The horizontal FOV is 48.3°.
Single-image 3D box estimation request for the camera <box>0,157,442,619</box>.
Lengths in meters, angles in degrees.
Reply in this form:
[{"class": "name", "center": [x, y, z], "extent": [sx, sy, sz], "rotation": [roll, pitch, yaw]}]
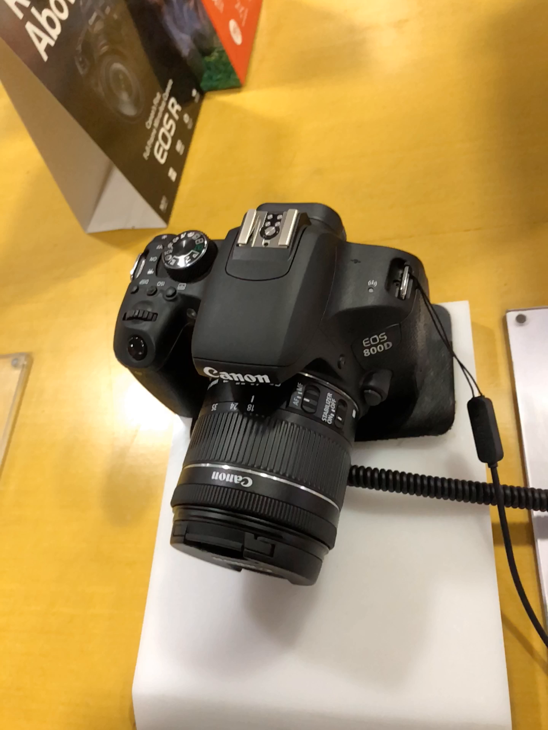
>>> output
[{"class": "camera", "center": [-0.009, 0.007, 0.226], "extent": [0.120, 0.090, 0.130], "rotation": [5, 64, 20]}]
